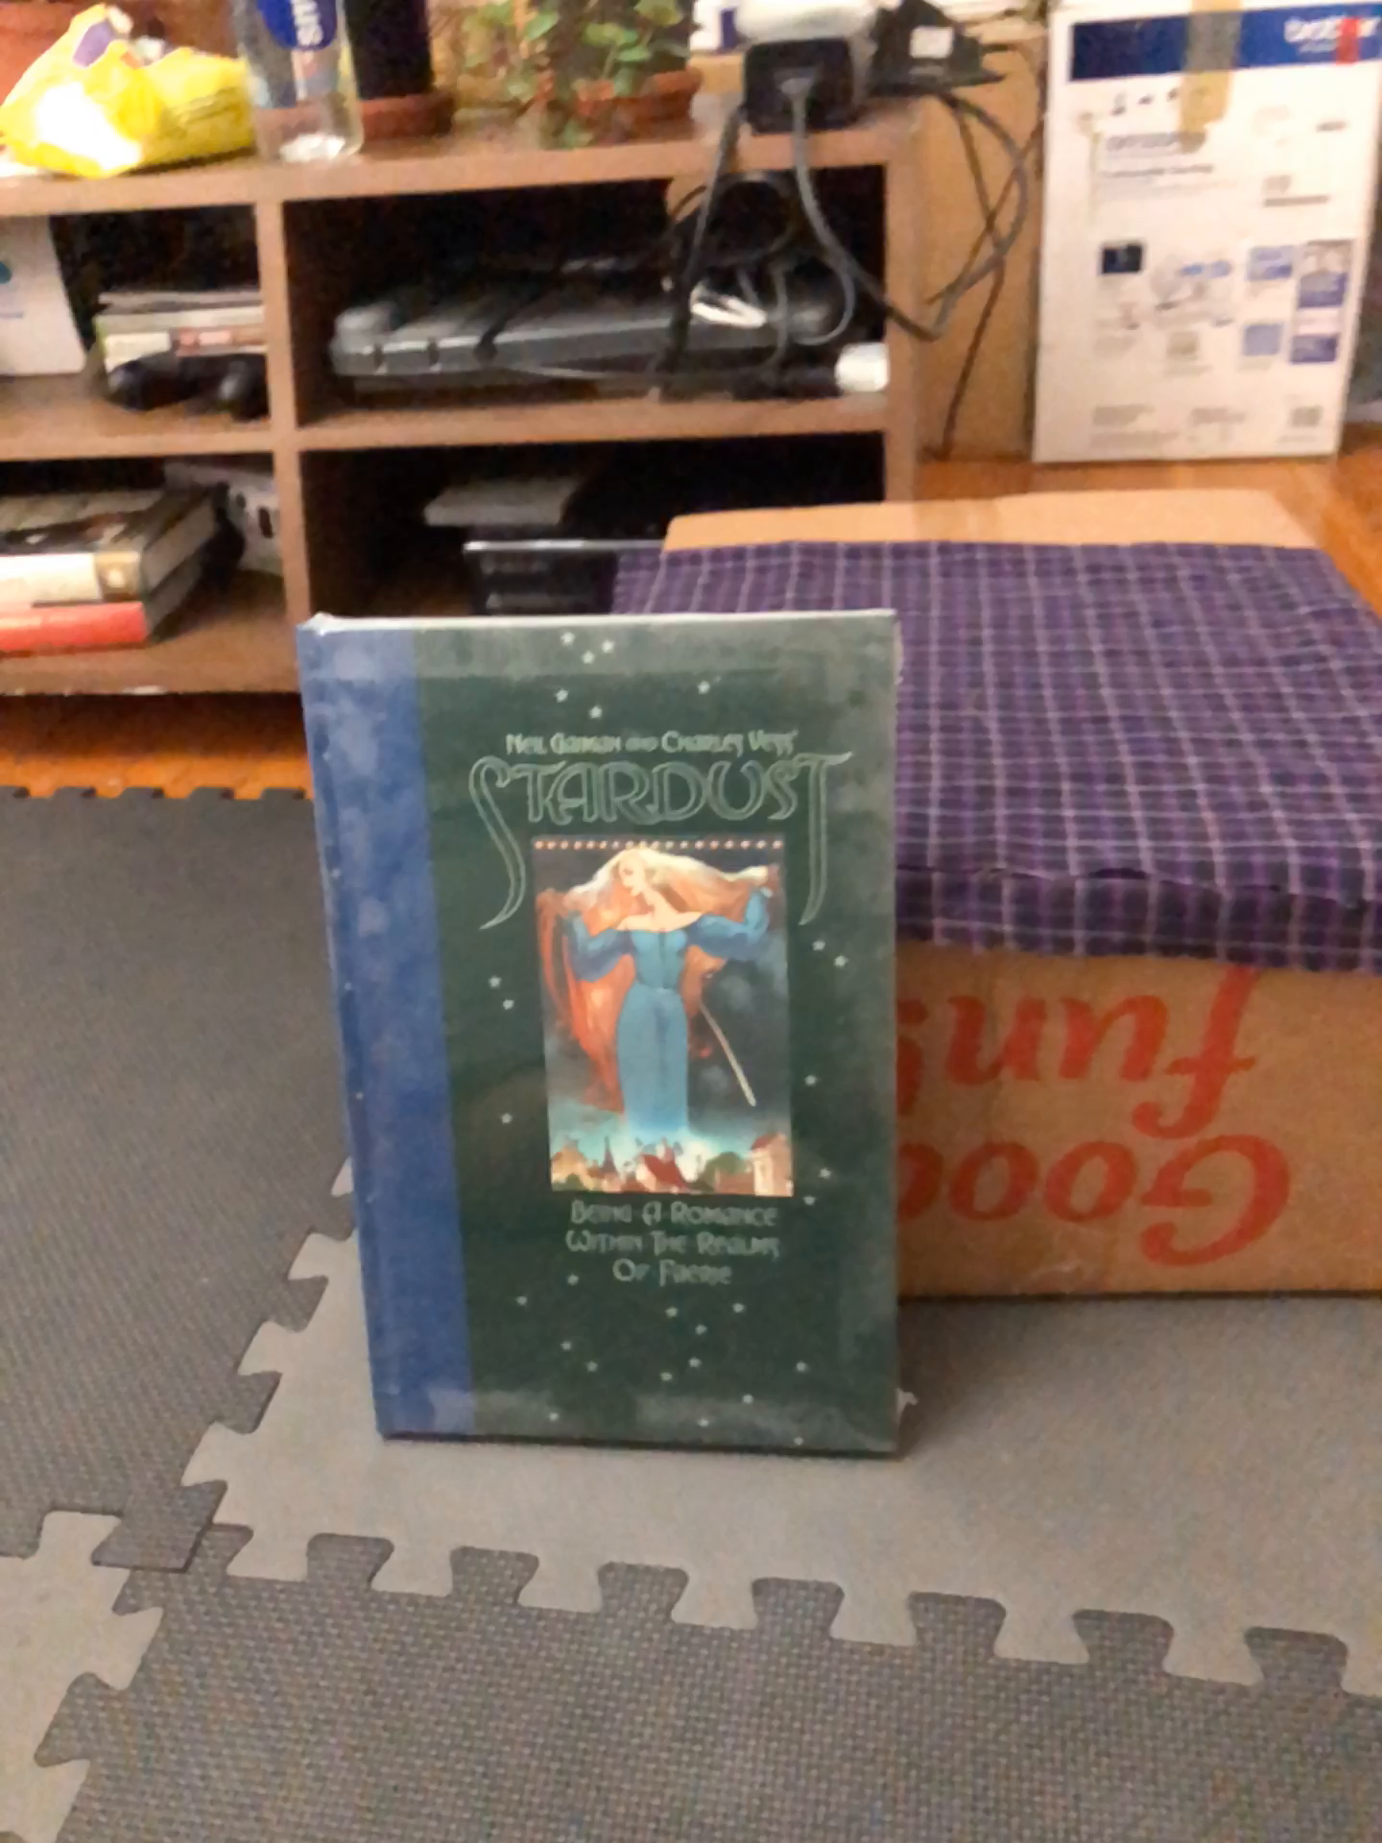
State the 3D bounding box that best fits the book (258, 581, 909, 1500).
[{"bbox_3d":[-0.031,0.052,0.546,0.210,0.329,0.020,-1,15,8],"label":"book"}]
